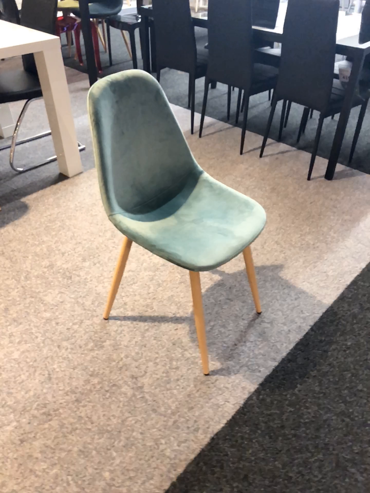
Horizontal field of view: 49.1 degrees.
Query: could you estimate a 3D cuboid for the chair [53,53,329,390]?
[{"bbox_3d":[0.020,-0.092,1.316,0.550,0.835,0.473,25,44,28],"label":"chair"}]
